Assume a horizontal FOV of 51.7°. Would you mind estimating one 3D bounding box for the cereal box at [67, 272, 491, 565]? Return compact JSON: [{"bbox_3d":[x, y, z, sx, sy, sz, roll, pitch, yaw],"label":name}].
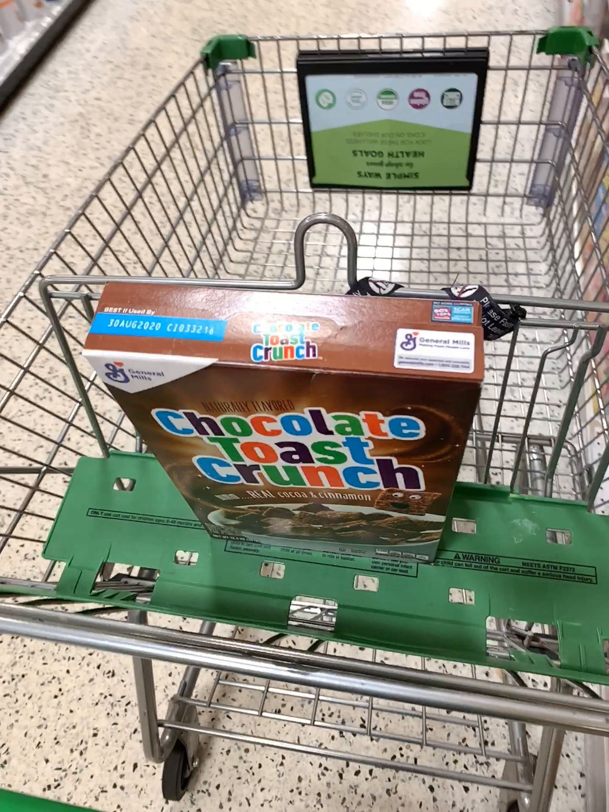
[{"bbox_3d":[0.000,0.029,0.421,0.200,0.278,0.050,4,60,9],"label":"cereal box"}]
